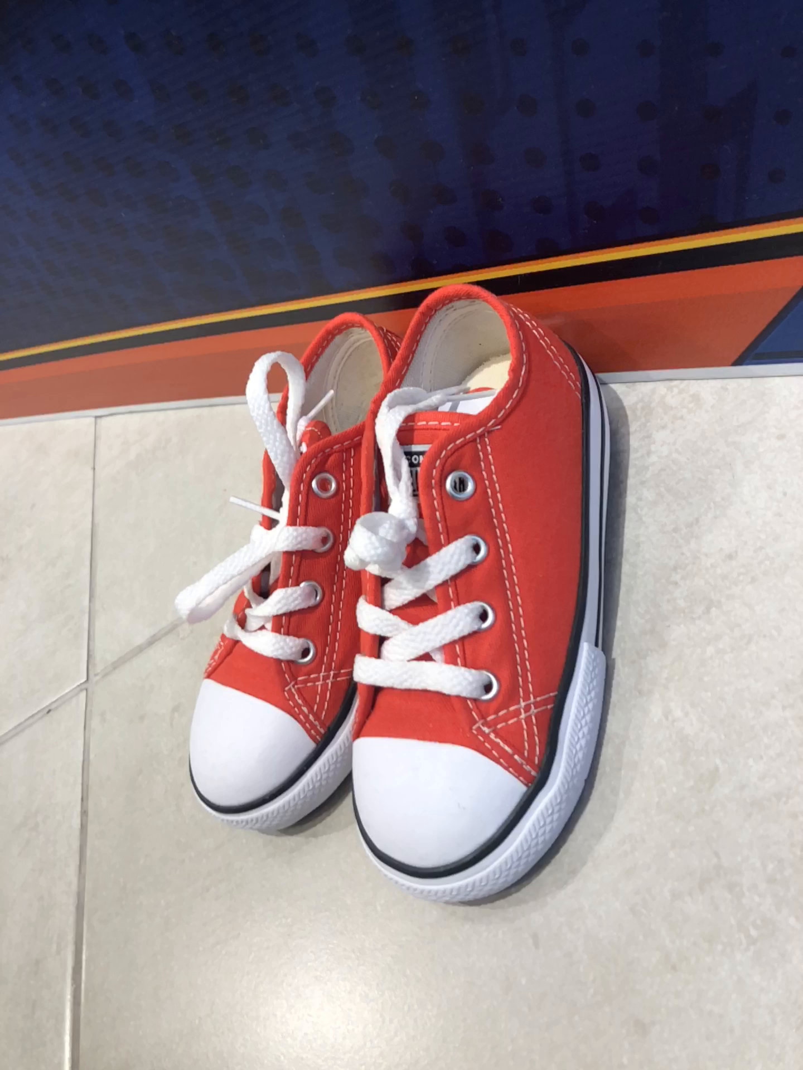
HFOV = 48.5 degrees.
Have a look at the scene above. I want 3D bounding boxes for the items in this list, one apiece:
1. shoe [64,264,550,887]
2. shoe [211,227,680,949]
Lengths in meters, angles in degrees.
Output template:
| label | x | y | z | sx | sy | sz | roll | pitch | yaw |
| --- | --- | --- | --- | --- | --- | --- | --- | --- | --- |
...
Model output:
| label | x | y | z | sx | sy | sz | roll | pitch | yaw |
| --- | --- | --- | --- | --- | --- | --- | --- | --- | --- |
| shoe | -0.027 | 0.009 | 0.314 | 0.080 | 0.070 | 0.190 | 6 | 67 | 42 |
| shoe | 0.023 | 0.012 | 0.275 | 0.080 | 0.070 | 0.190 | -4 | 61 | 38 |
